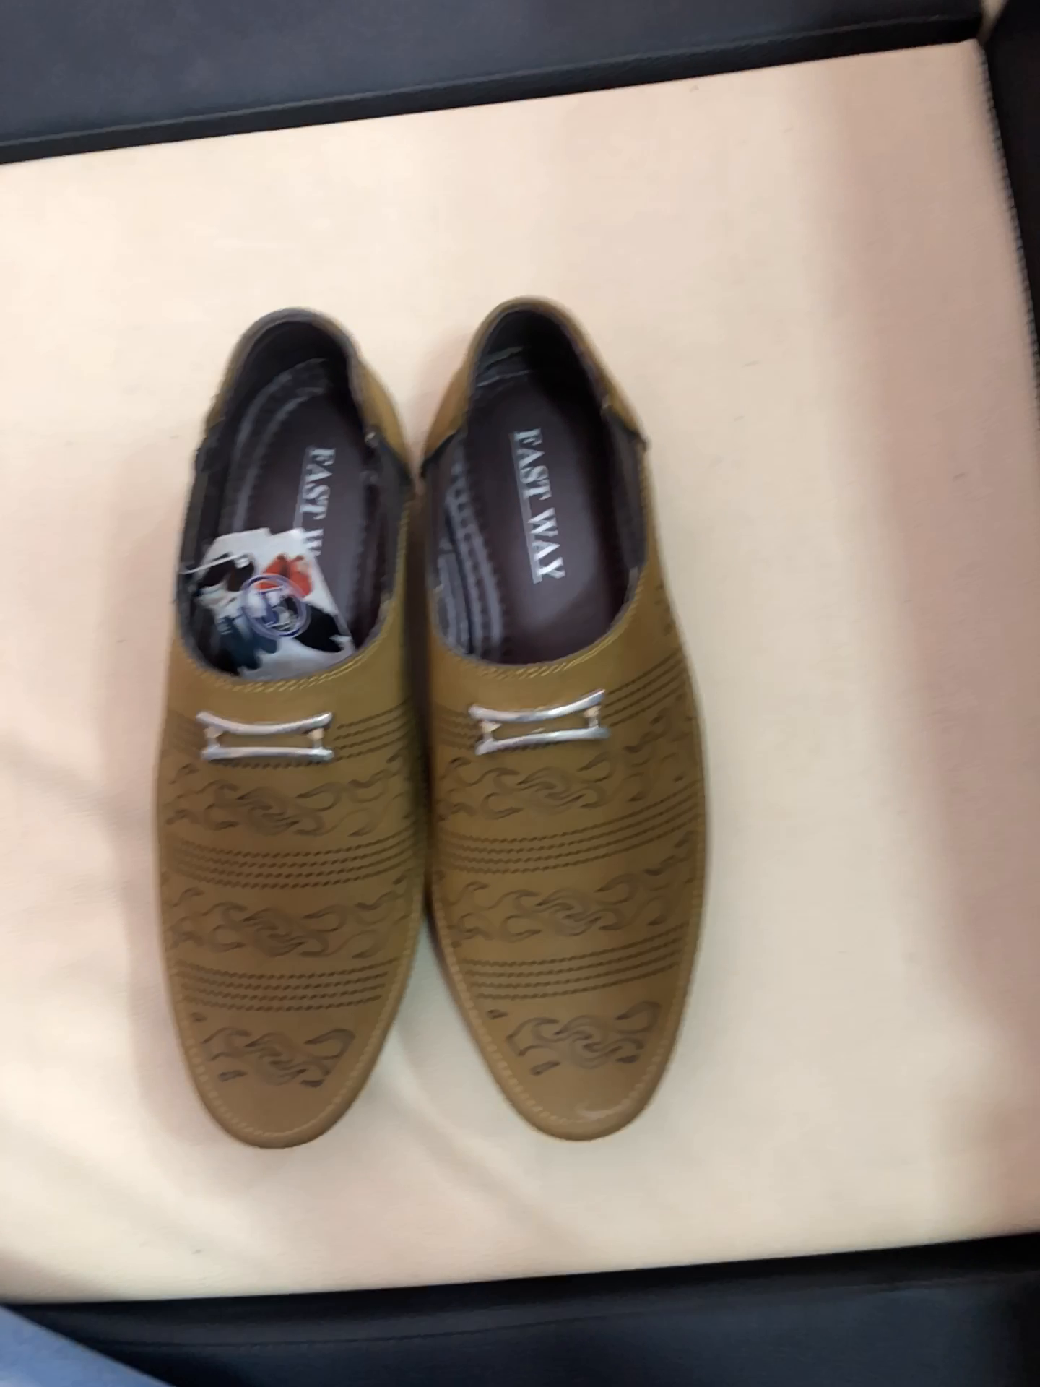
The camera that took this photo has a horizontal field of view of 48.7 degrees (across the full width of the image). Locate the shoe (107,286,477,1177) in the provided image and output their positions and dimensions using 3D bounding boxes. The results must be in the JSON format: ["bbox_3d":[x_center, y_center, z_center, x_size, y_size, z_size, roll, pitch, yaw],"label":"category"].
[{"bbox_3d":[-0.077,0.014,0.416,0.100,0.100,0.280,-3,84,7],"label":"shoe"}]

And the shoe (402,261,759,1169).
[{"bbox_3d":[0.022,0.008,0.408,0.100,0.100,0.280,-3,84,7],"label":"shoe"}]
